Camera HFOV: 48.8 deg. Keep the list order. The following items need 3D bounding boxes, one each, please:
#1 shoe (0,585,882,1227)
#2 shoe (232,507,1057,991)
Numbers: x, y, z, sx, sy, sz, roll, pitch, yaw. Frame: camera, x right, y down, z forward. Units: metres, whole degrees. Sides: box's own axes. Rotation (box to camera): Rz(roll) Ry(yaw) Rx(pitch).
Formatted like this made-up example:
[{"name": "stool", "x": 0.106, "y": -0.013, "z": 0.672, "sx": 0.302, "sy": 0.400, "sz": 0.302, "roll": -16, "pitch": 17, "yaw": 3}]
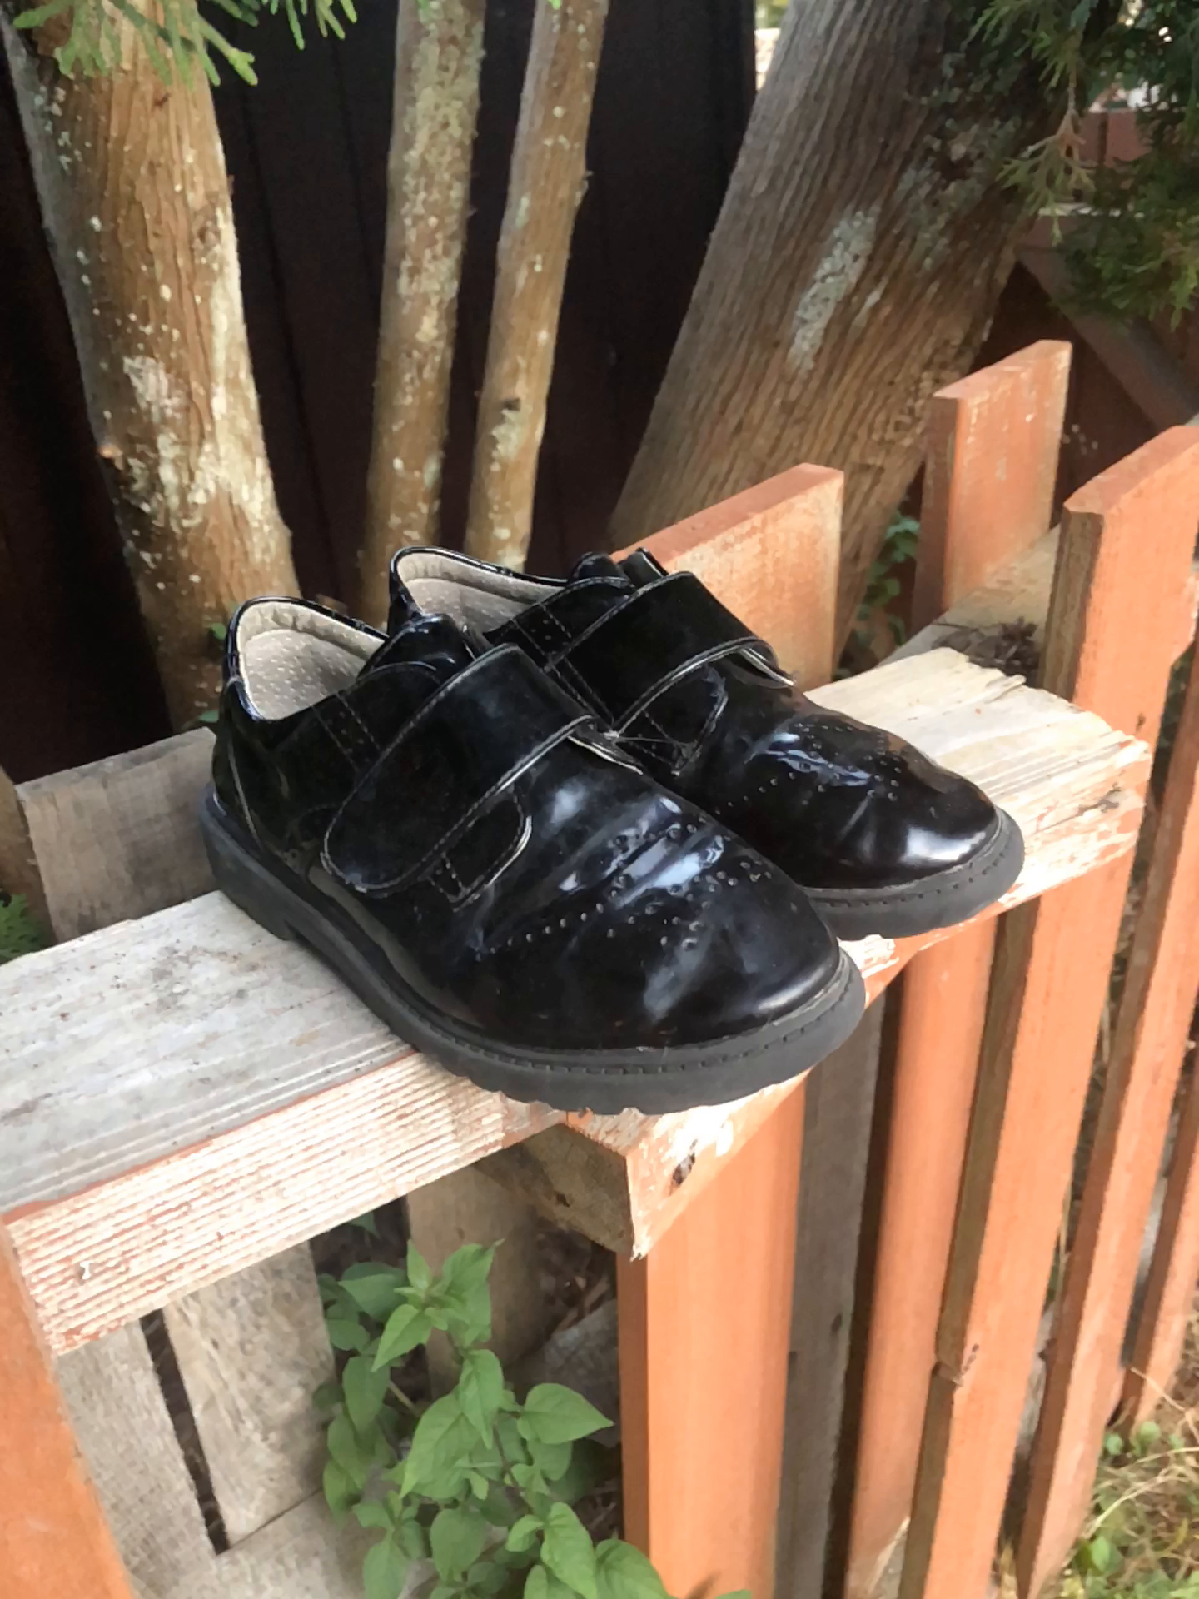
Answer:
[{"name": "shoe", "x": -0.054, "y": 0.008, "z": 0.357, "sx": 0.241, "sy": 0.070, "sz": 0.090, "roll": 18, "pitch": 36, "yaw": 36}, {"name": "shoe", "x": 0.006, "y": -0.030, "z": 0.402, "sx": 0.231, "sy": 0.070, "sz": 0.090, "roll": 16, "pitch": 34, "yaw": 33}]
